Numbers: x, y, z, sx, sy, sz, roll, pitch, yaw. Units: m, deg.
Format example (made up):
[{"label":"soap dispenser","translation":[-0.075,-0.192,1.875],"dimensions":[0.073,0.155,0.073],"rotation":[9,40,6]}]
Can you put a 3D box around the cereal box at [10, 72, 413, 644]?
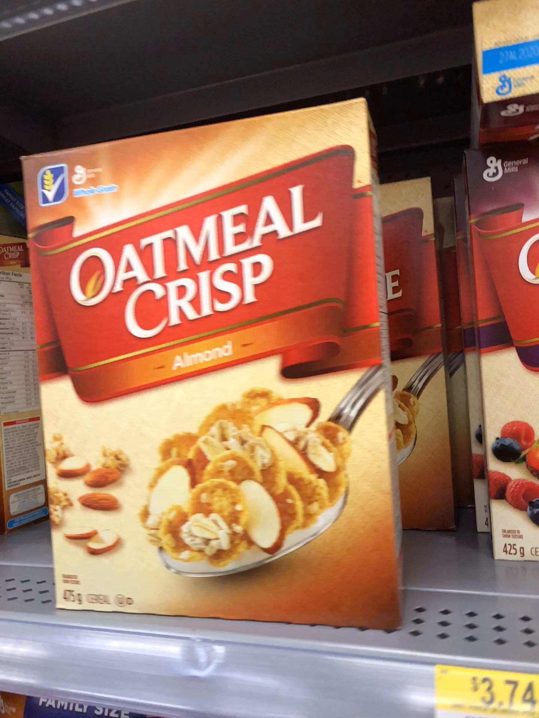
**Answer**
[{"label":"cereal box","translation":[-0.035,0.004,0.341],"dimensions":[0.210,0.280,0.050],"rotation":[-3,0,15]}]
